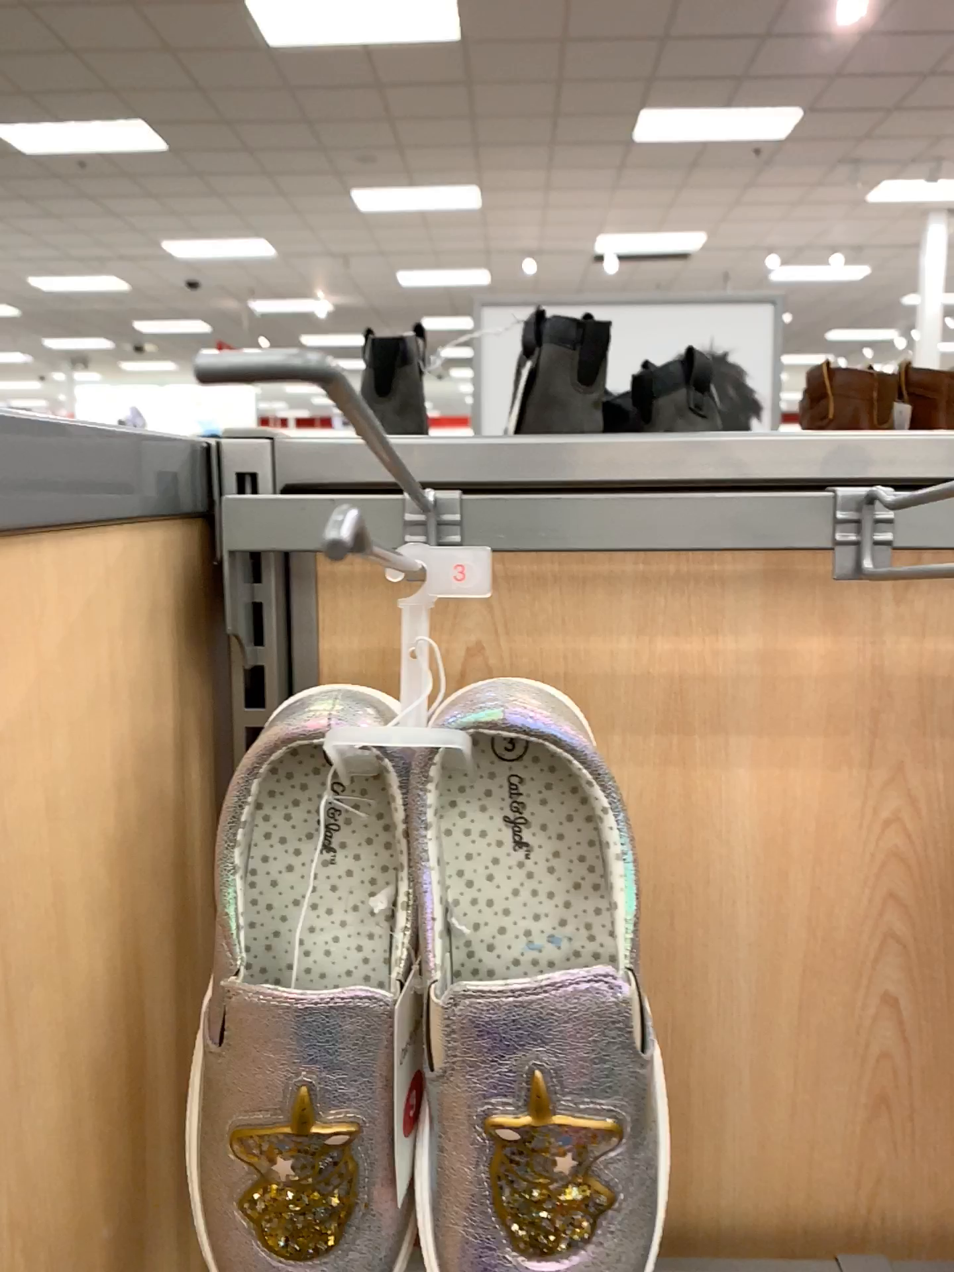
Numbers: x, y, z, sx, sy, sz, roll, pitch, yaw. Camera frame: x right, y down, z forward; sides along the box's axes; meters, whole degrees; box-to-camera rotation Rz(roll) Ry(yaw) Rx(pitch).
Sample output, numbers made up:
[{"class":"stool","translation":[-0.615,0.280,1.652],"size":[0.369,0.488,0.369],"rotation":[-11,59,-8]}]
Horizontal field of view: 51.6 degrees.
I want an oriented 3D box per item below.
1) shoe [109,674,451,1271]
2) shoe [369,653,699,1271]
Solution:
[{"class":"shoe","translation":[-0.061,0.131,0.360],"size":[0.100,0.221,0.113],"rotation":[-1,4,-2]},{"class":"shoe","translation":[0.016,0.123,0.362],"size":[0.100,0.221,0.113],"rotation":[-1,4,-2]}]
